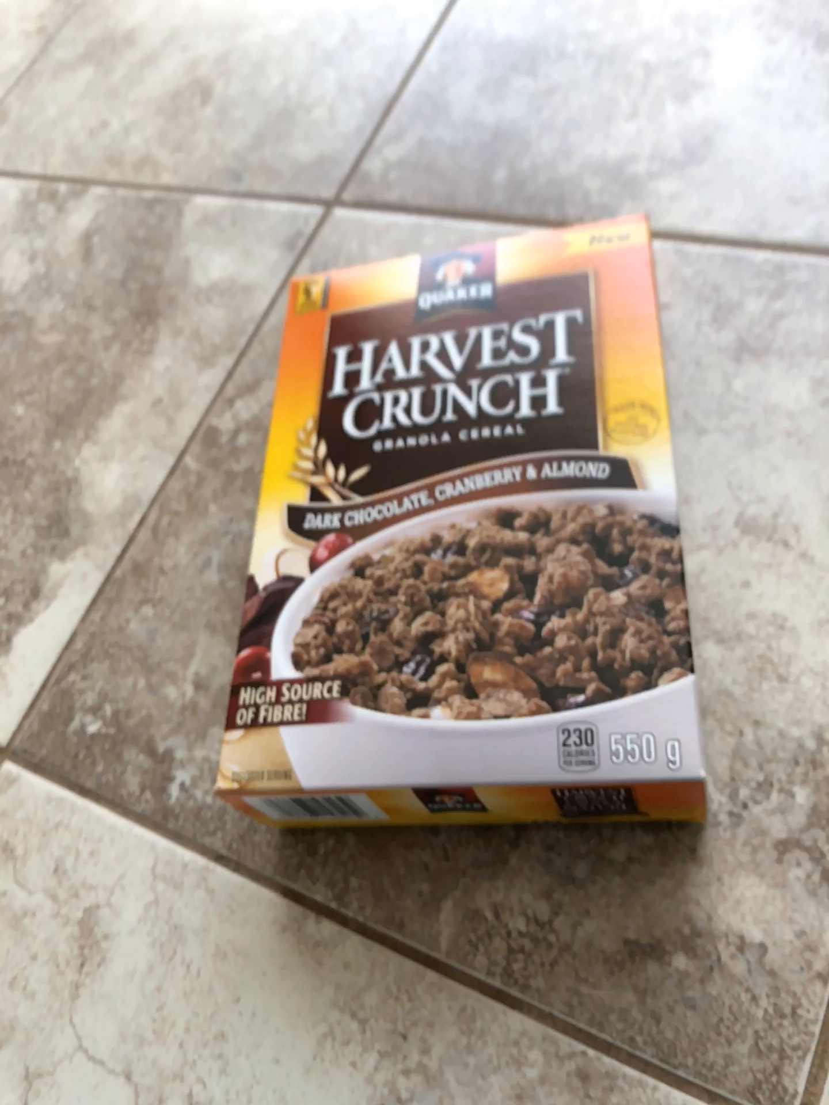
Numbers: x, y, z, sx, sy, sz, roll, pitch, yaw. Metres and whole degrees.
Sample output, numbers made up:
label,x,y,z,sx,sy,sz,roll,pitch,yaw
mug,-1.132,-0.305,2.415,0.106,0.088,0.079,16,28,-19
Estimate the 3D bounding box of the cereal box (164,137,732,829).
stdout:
label,x,y,z,sx,sy,sz,roll,pitch,yaw
cereal box,0.017,-0.030,0.361,0.170,0.070,0.250,-6,60,15
